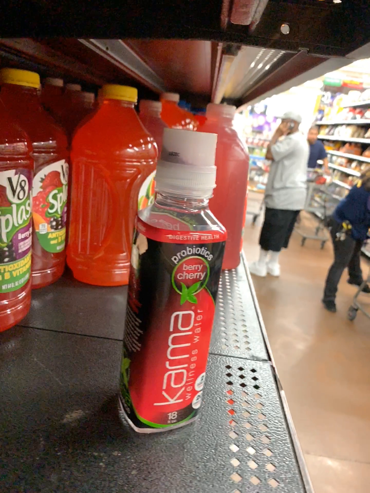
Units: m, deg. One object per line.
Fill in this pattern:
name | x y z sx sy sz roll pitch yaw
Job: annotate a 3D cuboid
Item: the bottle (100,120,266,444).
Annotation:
bottle | -0.011 0.024 0.277 0.068 0.209 0.070 8 17 -2
